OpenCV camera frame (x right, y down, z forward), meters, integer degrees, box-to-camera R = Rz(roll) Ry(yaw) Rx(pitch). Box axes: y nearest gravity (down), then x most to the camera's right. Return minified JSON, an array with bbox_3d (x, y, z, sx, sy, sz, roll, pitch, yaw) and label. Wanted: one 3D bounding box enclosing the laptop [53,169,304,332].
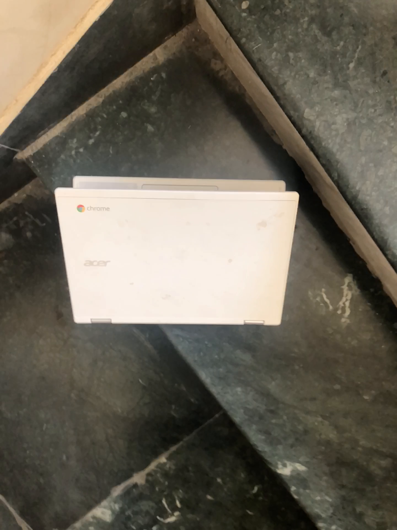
[{"bbox_3d":[-0.022,-0.018,0.559,0.282,0.091,0.189,0,100,-2],"label":"laptop"}]
